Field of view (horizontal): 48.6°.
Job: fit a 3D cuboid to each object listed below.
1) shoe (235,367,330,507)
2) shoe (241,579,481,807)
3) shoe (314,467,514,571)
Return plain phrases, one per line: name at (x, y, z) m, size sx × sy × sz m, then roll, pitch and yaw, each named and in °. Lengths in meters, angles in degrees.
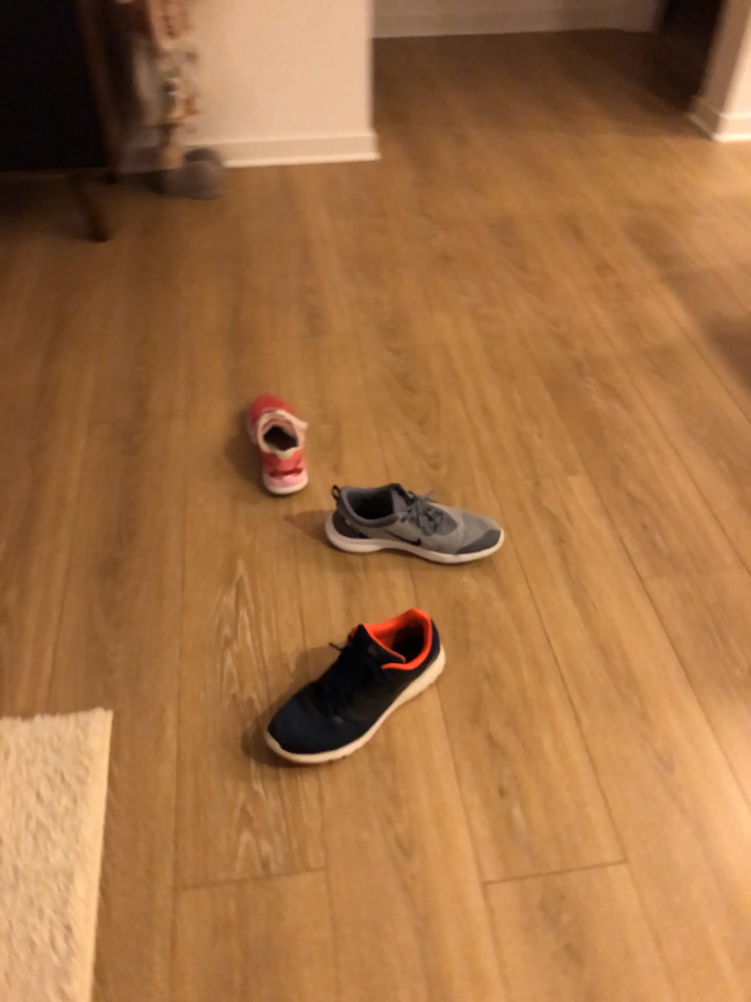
shoe at (-0.179, -0.128, 1.573) m, size 0.130 × 0.090 × 0.281 m, roll -9°, pitch 45°, yaw -10°
shoe at (-0.014, 0.260, 1.174) m, size 0.321 × 0.100 × 0.130 m, roll -31°, pitch 52°, yaw -29°
shoe at (0.066, 0.028, 1.397) m, size 0.320 × 0.080 × 0.131 m, roll 5°, pitch 44°, yaw 4°
